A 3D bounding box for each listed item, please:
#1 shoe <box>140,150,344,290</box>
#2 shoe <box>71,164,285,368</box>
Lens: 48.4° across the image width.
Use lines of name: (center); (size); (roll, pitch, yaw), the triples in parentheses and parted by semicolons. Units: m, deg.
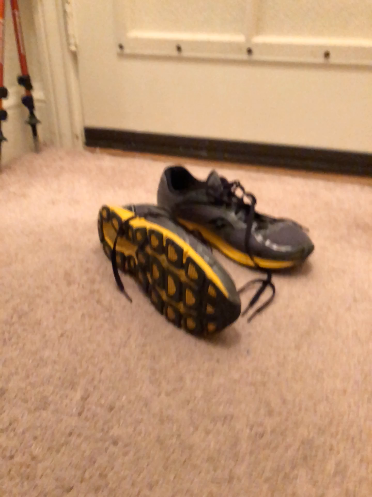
shoe: (0.071, -0.060, 0.635); (0.284, 0.098, 0.118); (25, 38, 35)
shoe: (-0.027, -0.002, 0.539); (0.109, 0.117, 0.294); (-23, 38, -31)
